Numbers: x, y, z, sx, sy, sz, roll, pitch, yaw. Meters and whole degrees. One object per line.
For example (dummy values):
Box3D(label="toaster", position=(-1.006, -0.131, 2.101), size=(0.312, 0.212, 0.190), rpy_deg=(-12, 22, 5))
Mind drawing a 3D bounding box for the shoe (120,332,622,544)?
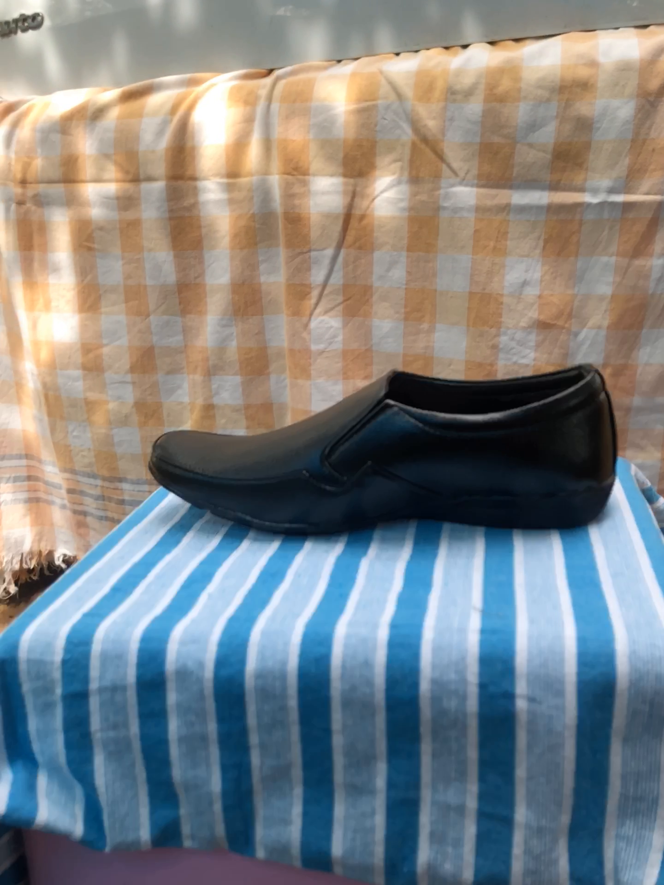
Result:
Box3D(label="shoe", position=(0.026, -0.005, 0.495), size=(0.300, 0.110, 0.100), rpy_deg=(-2, 18, 6))
